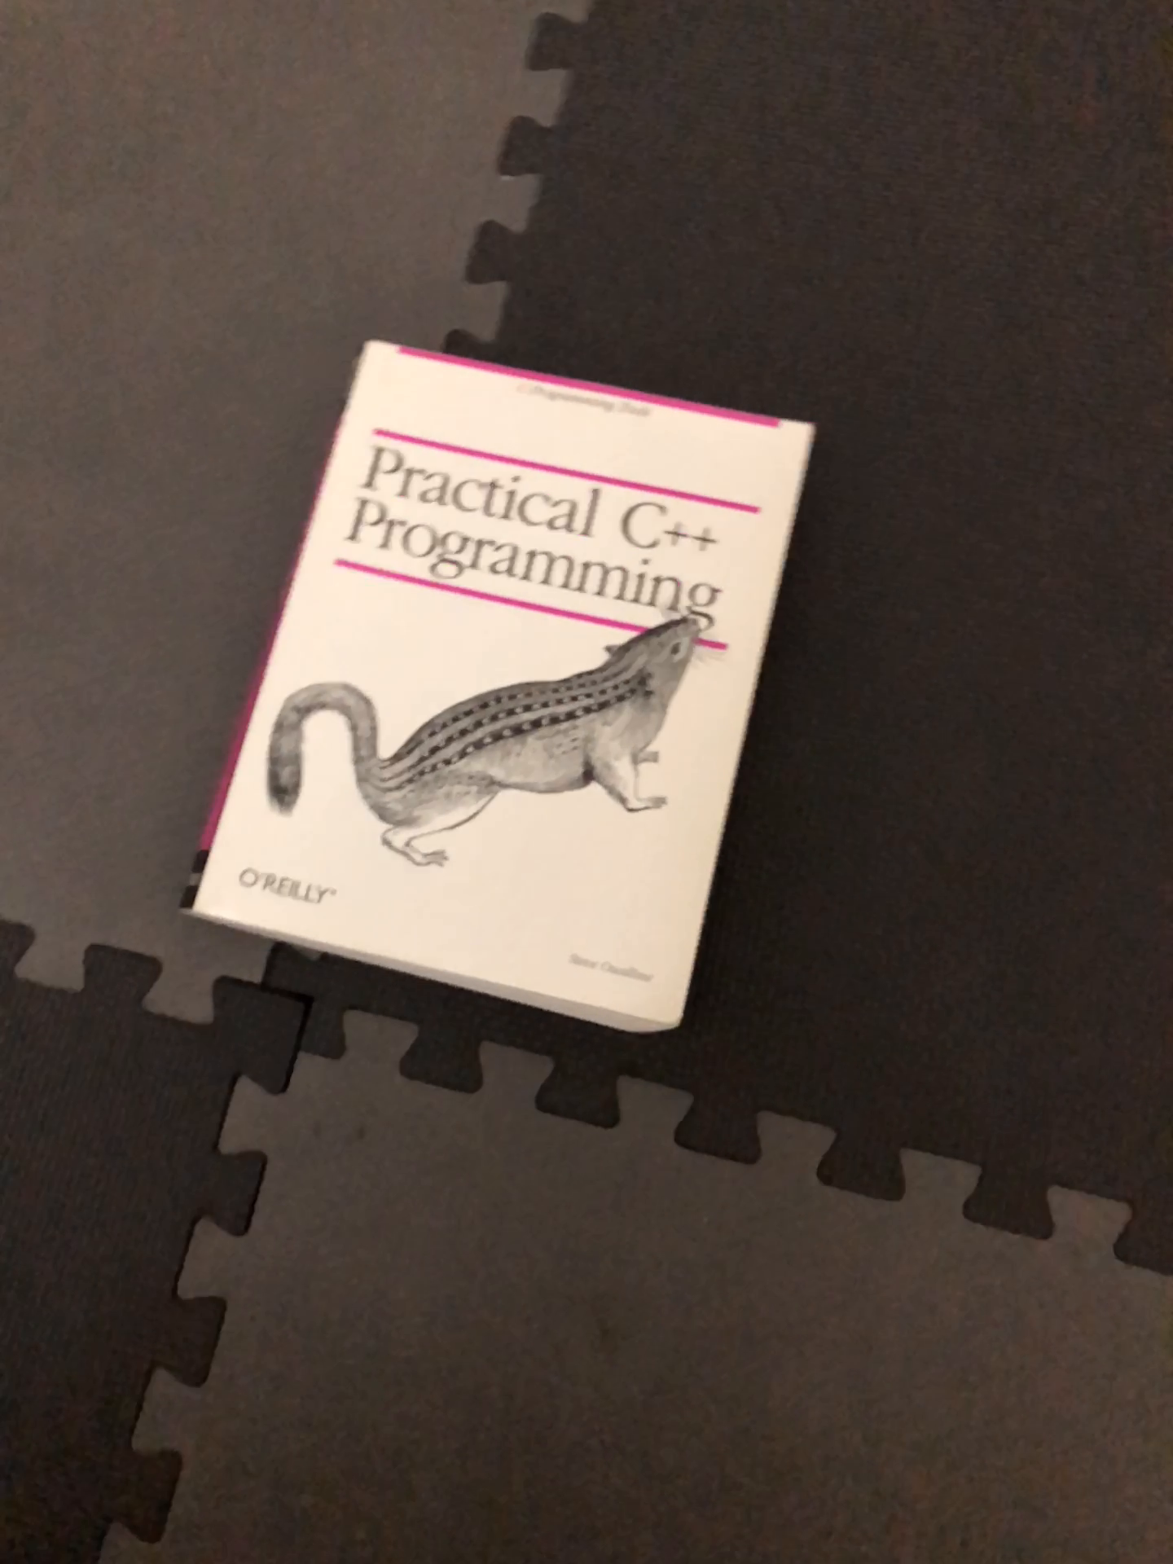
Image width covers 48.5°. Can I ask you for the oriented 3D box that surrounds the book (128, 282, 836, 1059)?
[{"bbox_3d":[-0.033,-0.043,0.499,0.200,0.050,0.250,14,79,0],"label":"book"}]
